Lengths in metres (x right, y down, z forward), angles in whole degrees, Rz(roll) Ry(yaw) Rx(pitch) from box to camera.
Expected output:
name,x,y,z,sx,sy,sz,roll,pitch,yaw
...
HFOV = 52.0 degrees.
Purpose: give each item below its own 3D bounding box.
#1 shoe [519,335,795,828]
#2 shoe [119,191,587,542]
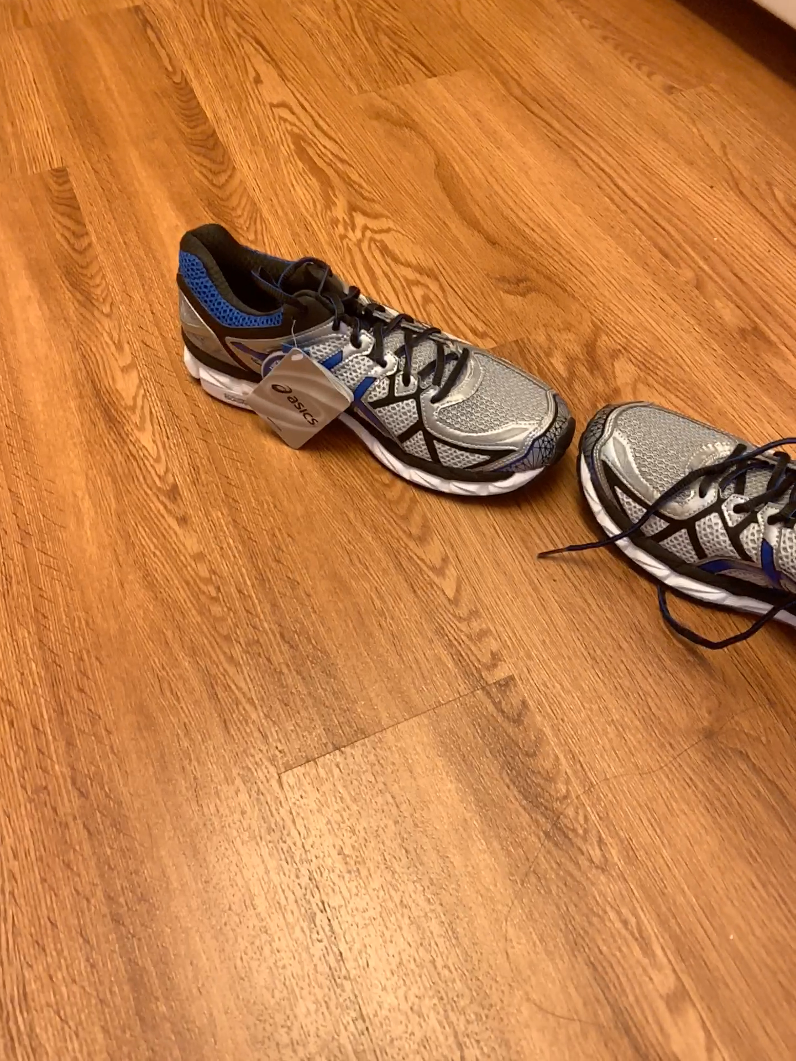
name,x,y,z,sx,sy,sz,roll,pitch,yaw
shoe,0.233,0.019,0.471,0.311,0.100,0.100,33,63,21
shoe,-0.034,-0.118,0.560,0.291,0.100,0.100,27,61,18
